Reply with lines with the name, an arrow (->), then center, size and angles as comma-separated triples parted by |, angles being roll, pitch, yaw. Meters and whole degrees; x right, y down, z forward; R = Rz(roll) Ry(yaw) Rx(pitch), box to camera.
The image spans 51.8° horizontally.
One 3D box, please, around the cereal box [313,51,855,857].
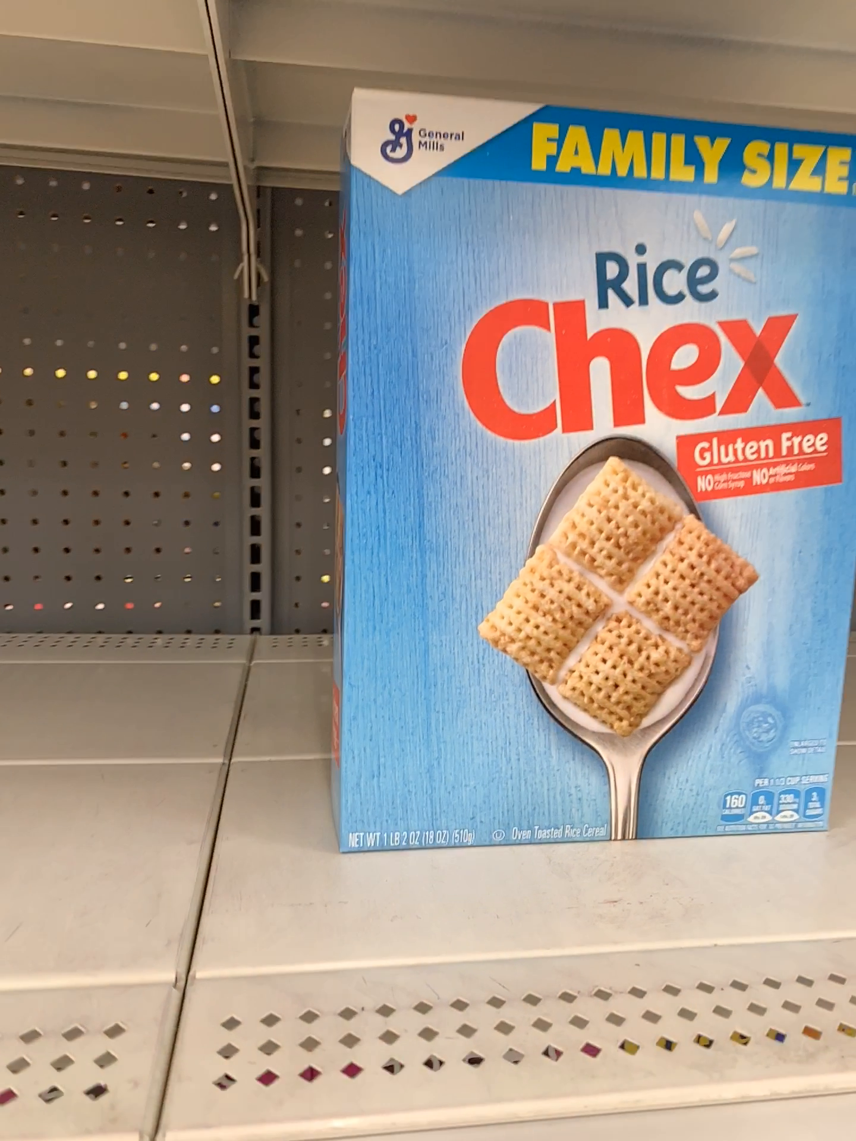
cereal box -> 0.074, -0.041, 0.409 | 0.250, 0.319, 0.080 | 0, 10, -8
